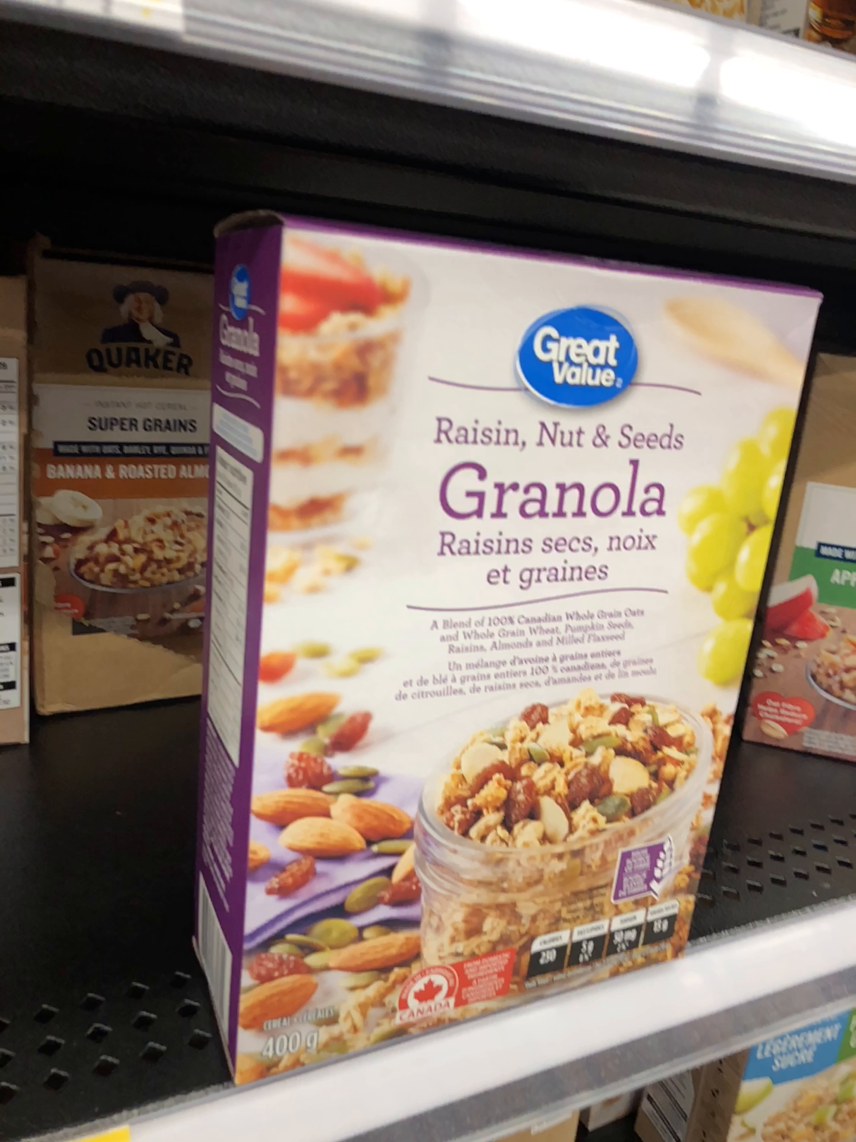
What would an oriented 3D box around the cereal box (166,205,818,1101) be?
[{"bbox_3d":[0.012,0.020,0.279,0.160,0.219,0.060,-3,17,-27],"label":"cereal box"}]
